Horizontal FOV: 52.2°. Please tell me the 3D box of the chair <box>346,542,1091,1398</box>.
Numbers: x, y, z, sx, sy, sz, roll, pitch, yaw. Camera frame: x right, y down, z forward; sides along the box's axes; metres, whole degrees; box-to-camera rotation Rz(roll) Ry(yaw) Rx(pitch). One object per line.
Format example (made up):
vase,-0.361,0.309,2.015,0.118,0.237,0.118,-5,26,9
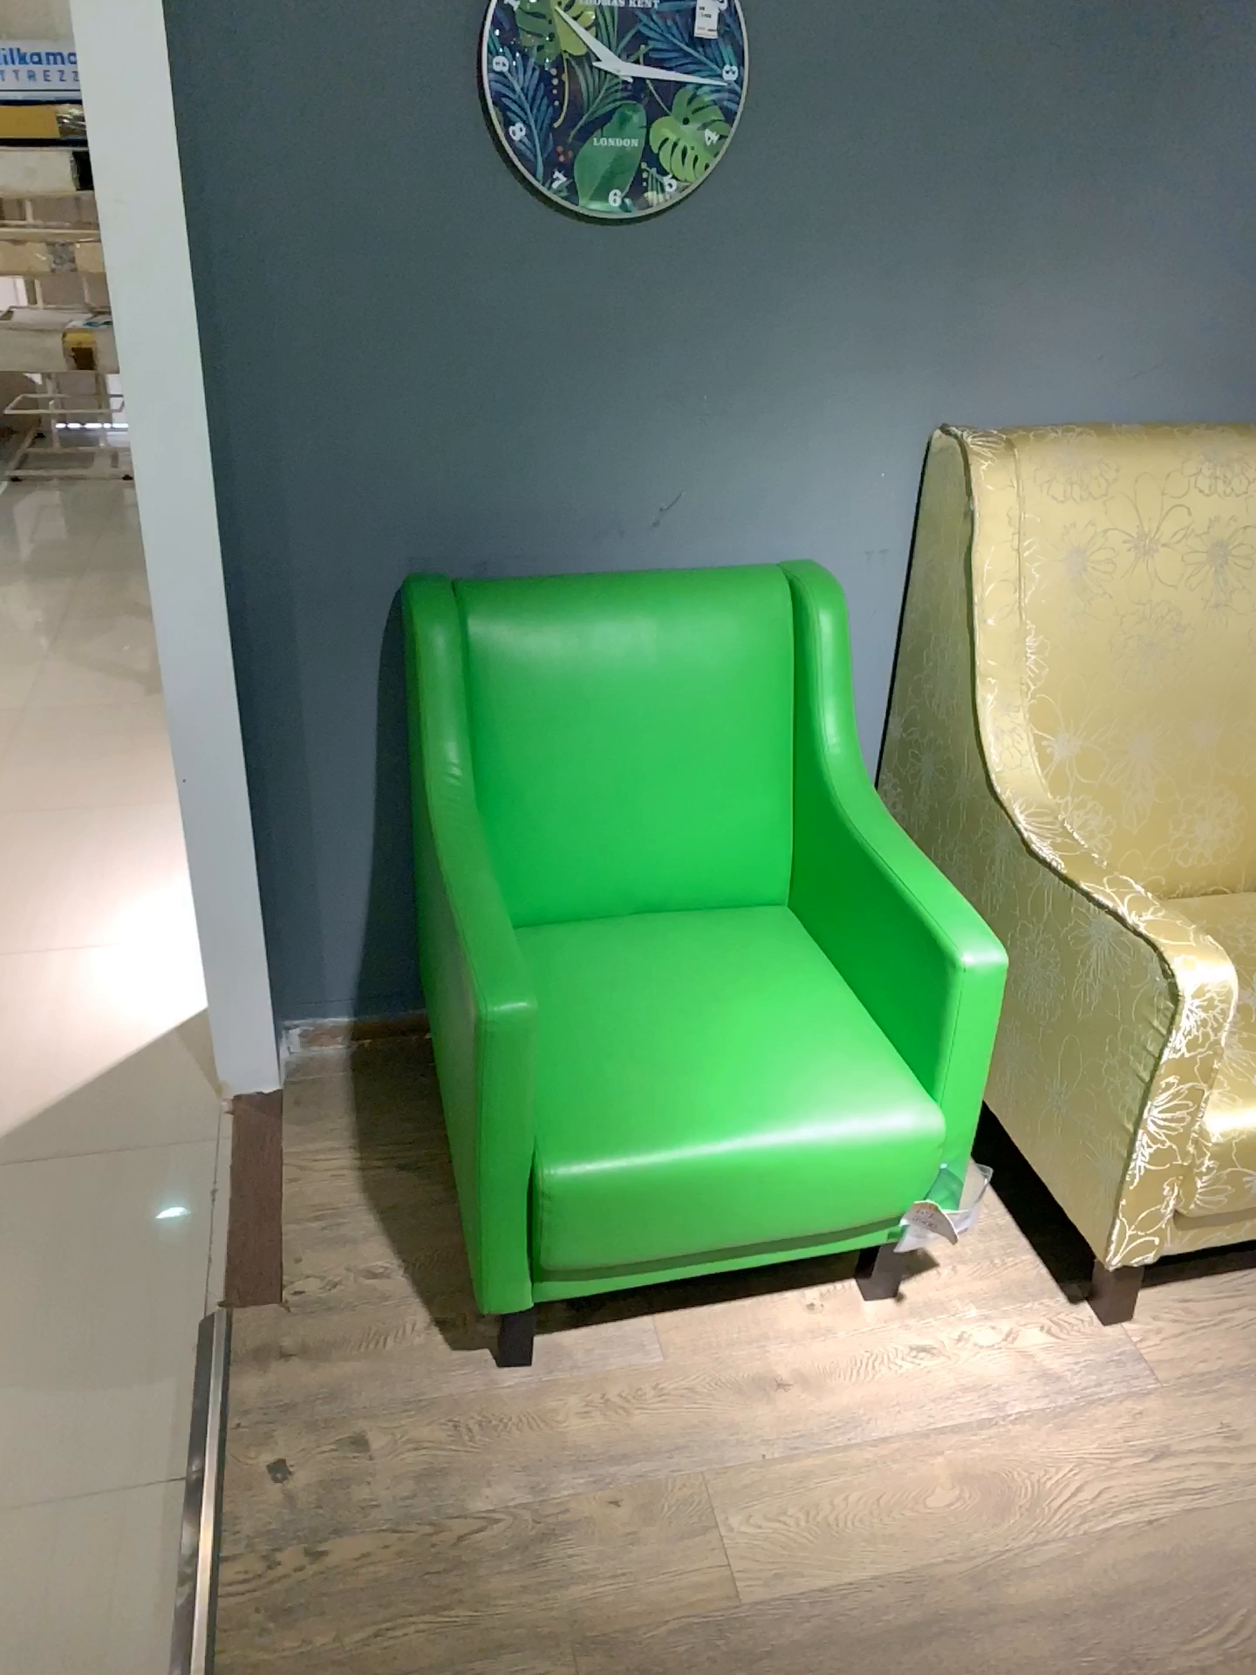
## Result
chair,0.021,0.104,1.781,0.710,0.787,0.813,-5,30,-14
